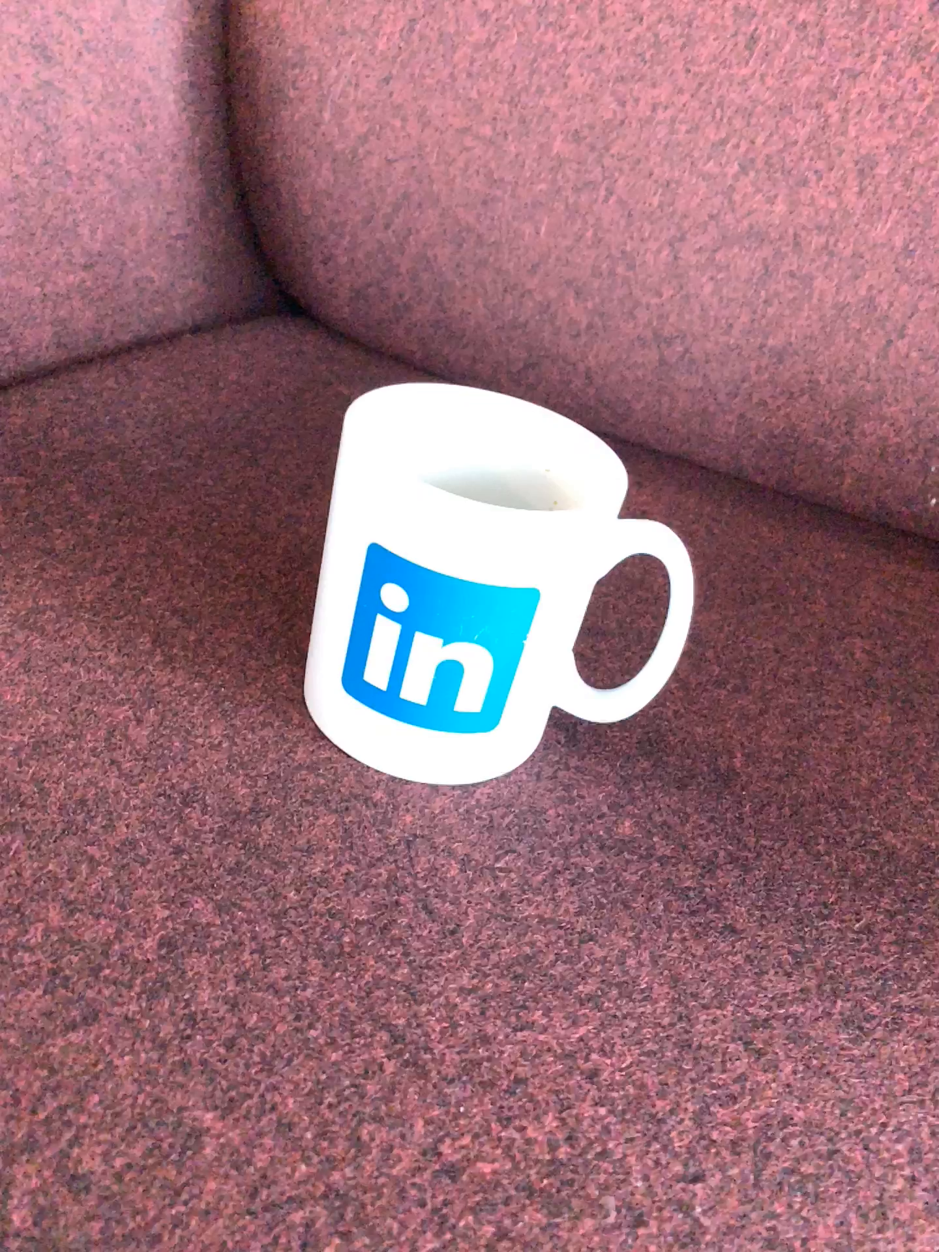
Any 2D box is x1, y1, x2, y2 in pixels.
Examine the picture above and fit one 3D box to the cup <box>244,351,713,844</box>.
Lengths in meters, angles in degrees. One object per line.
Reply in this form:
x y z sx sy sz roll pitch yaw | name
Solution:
0.003 -0.011 0.270 0.104 0.089 0.075 14 32 6 | cup
